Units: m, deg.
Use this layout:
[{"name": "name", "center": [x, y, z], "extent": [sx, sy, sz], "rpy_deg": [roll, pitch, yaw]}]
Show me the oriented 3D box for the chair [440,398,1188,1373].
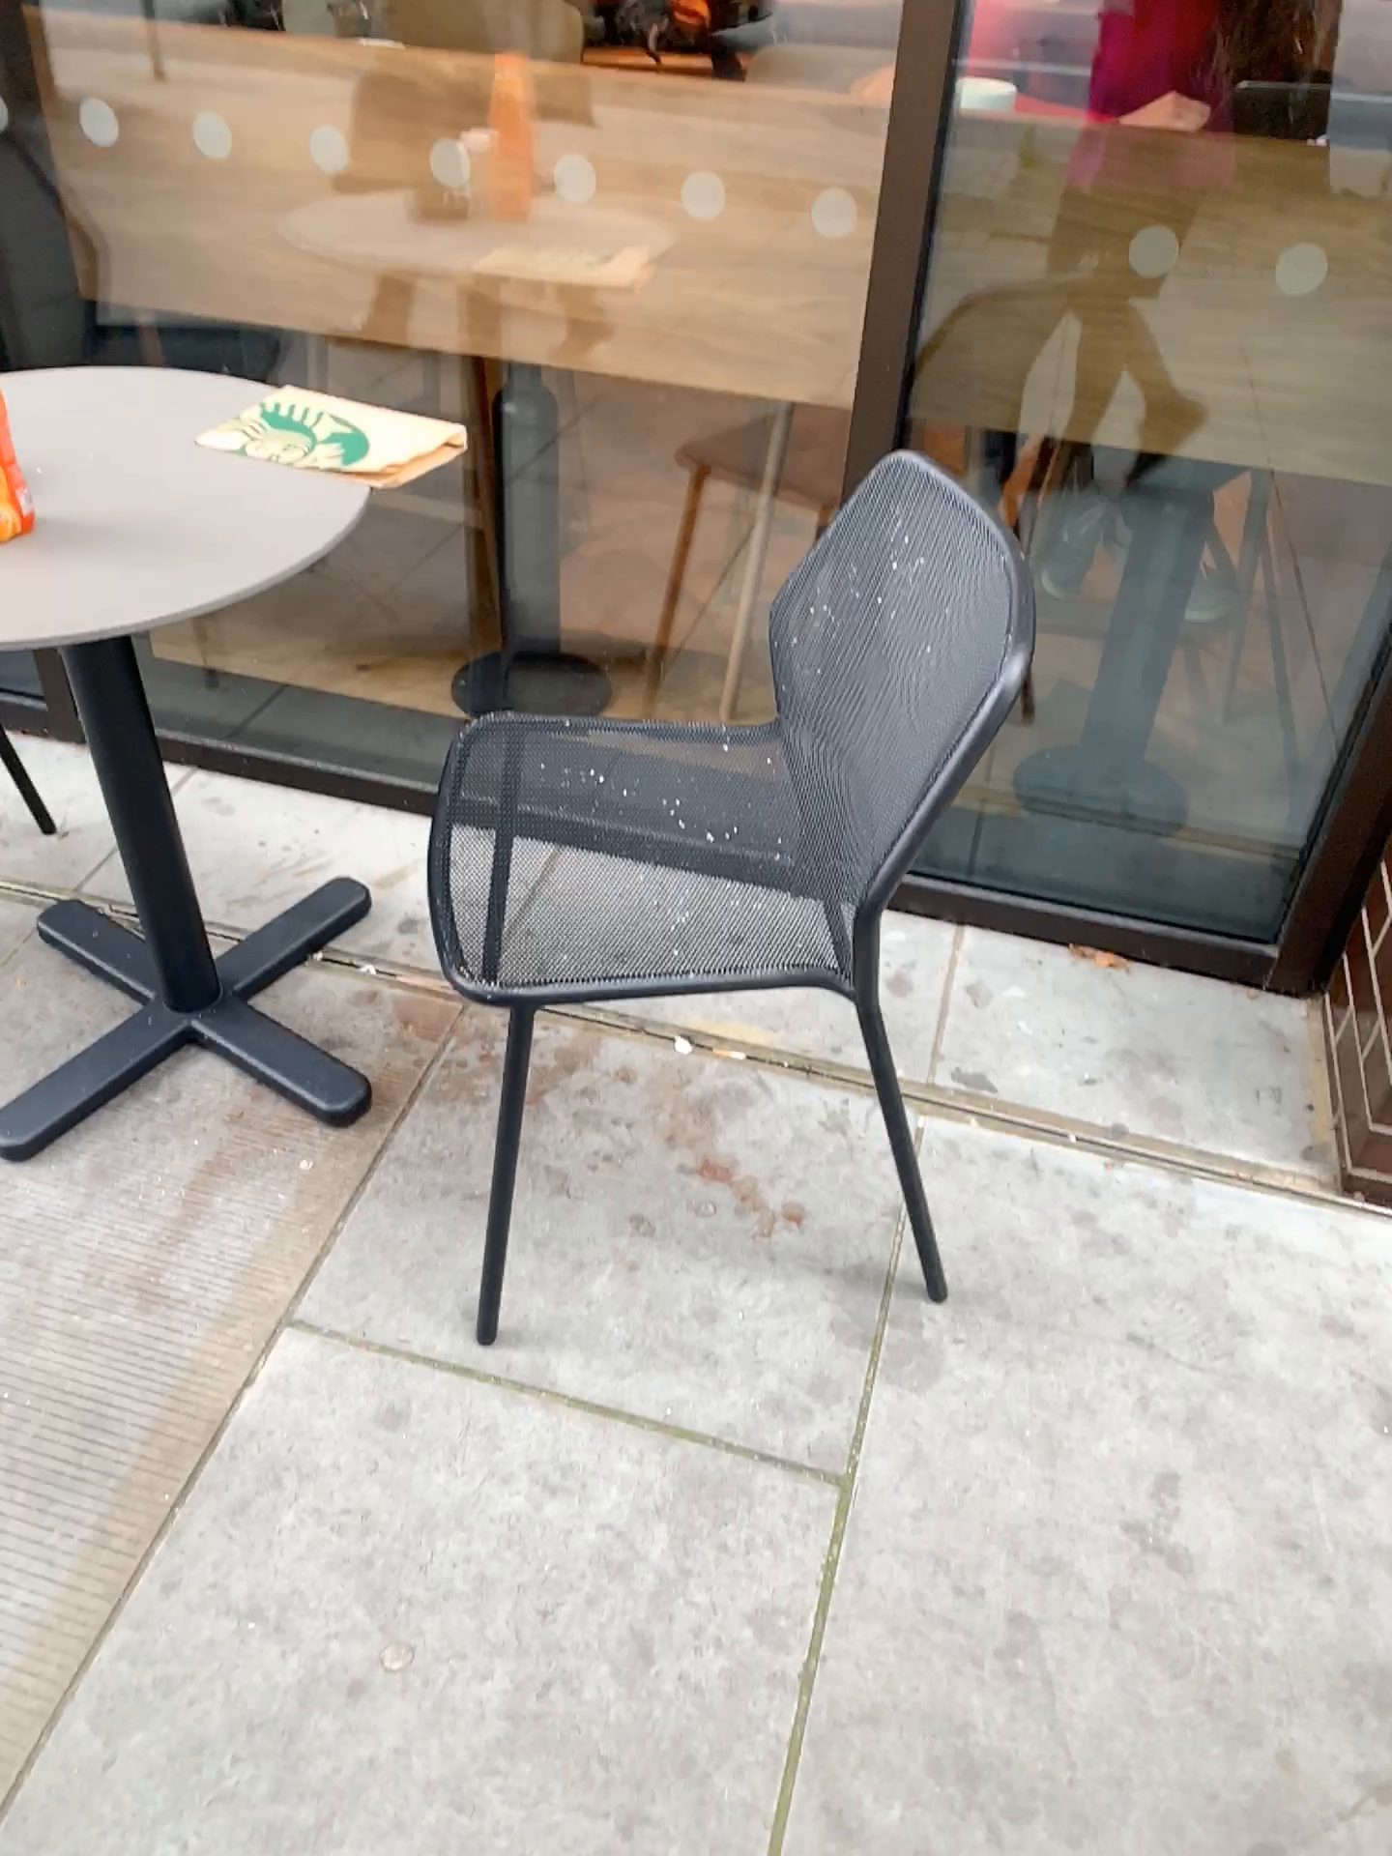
[{"name": "chair", "center": [0.037, -0.044, 1.479], "extent": [0.540, 0.797, 0.596], "rpy_deg": [-1, 39, -7]}]
